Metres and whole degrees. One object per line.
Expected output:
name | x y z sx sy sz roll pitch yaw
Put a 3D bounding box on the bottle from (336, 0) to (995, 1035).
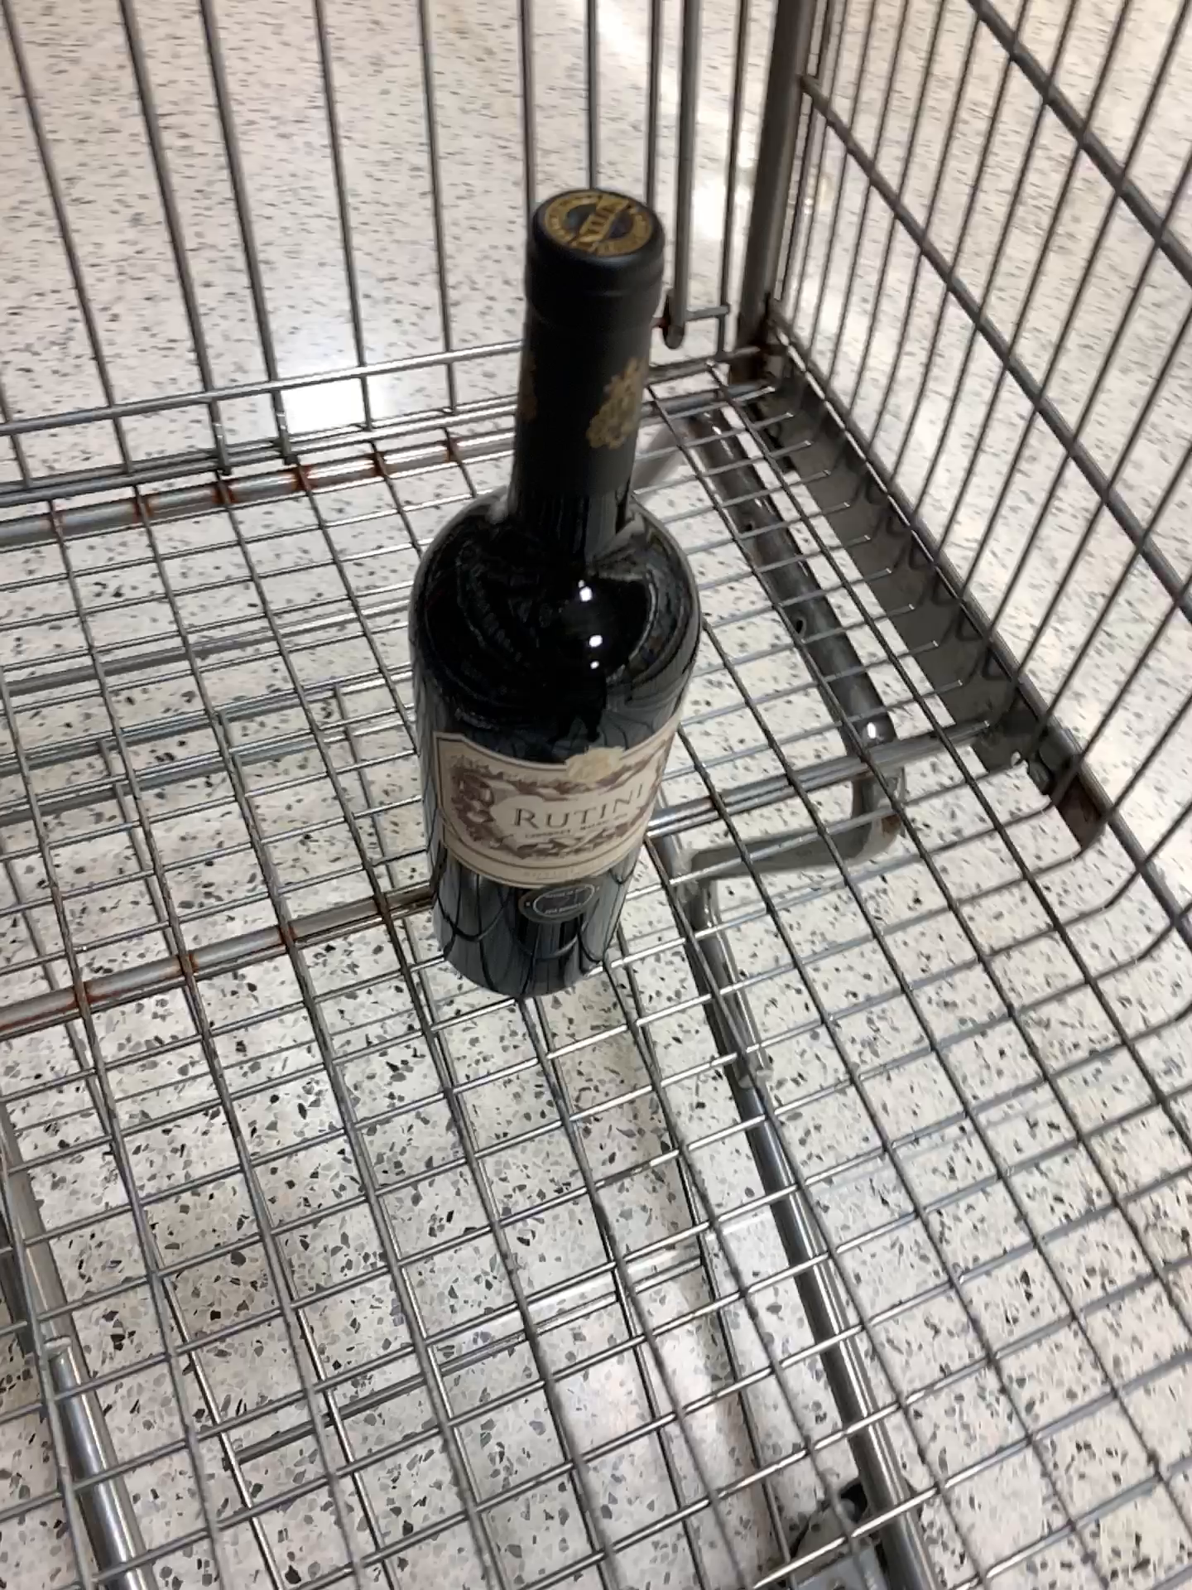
bottle | -0.009 -0.044 0.351 0.090 0.298 0.101 -16 62 -18
